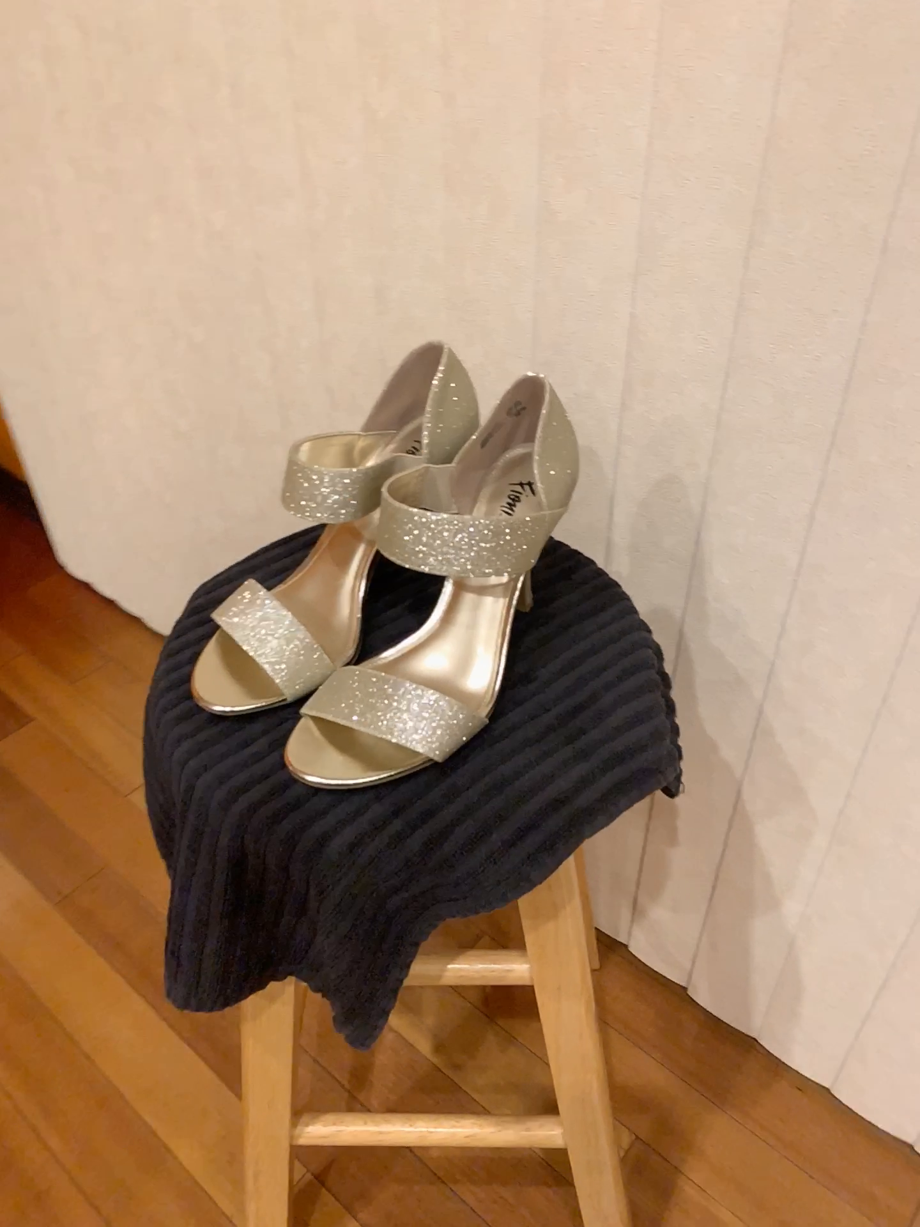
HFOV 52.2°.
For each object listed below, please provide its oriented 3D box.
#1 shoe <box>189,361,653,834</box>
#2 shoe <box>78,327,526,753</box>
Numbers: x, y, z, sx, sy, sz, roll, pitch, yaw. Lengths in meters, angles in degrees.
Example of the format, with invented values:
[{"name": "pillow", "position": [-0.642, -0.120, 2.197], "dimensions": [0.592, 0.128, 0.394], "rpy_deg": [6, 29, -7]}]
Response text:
[{"name": "shoe", "position": [-0.006, -0.021, 0.499], "dimensions": [0.090, 0.129, 0.237], "rpy_deg": [28, 48, 31]}, {"name": "shoe", "position": [-0.073, -0.054, 0.544], "dimensions": [0.095, 0.129, 0.236], "rpy_deg": [28, 48, 31]}]
